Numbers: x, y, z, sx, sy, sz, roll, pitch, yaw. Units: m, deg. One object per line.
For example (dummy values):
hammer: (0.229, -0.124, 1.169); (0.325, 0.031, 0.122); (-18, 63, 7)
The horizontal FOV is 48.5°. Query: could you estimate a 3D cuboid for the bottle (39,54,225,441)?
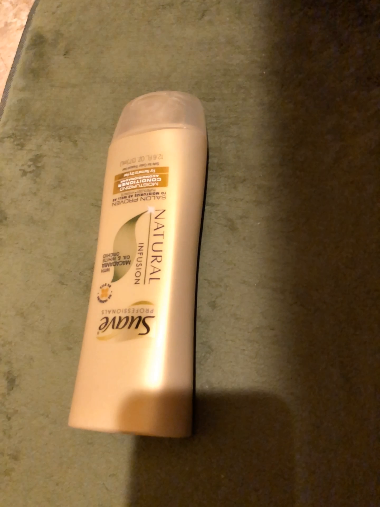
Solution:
bottle: (-0.027, -0.008, 0.263); (0.080, 0.050, 0.220); (-5, 70, 23)
